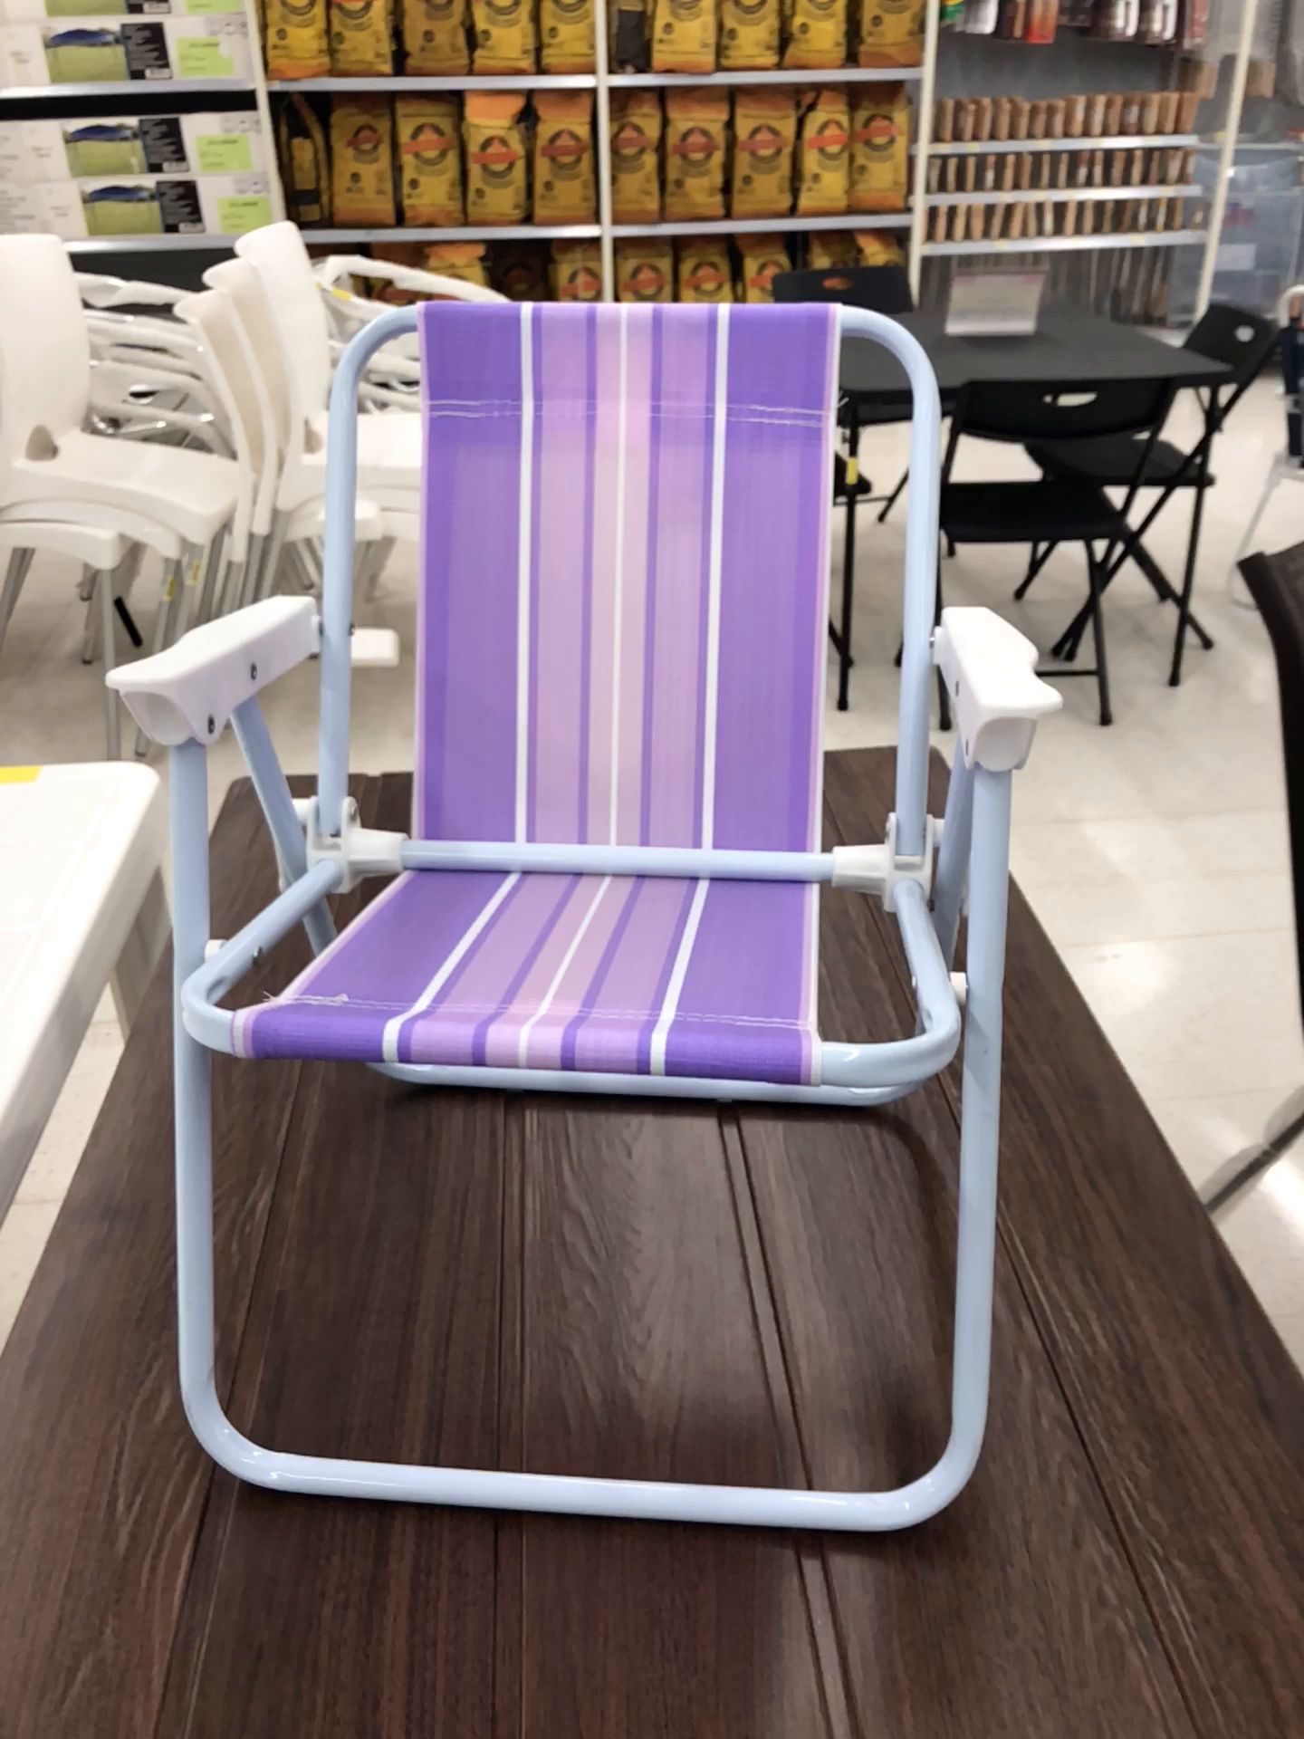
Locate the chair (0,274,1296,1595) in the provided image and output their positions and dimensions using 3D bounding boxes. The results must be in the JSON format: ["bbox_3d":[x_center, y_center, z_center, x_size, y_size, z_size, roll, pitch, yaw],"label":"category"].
[{"bbox_3d":[-0.029,-0.007,0.650,0.420,0.437,0.393,2,29,5],"label":"chair"}]
